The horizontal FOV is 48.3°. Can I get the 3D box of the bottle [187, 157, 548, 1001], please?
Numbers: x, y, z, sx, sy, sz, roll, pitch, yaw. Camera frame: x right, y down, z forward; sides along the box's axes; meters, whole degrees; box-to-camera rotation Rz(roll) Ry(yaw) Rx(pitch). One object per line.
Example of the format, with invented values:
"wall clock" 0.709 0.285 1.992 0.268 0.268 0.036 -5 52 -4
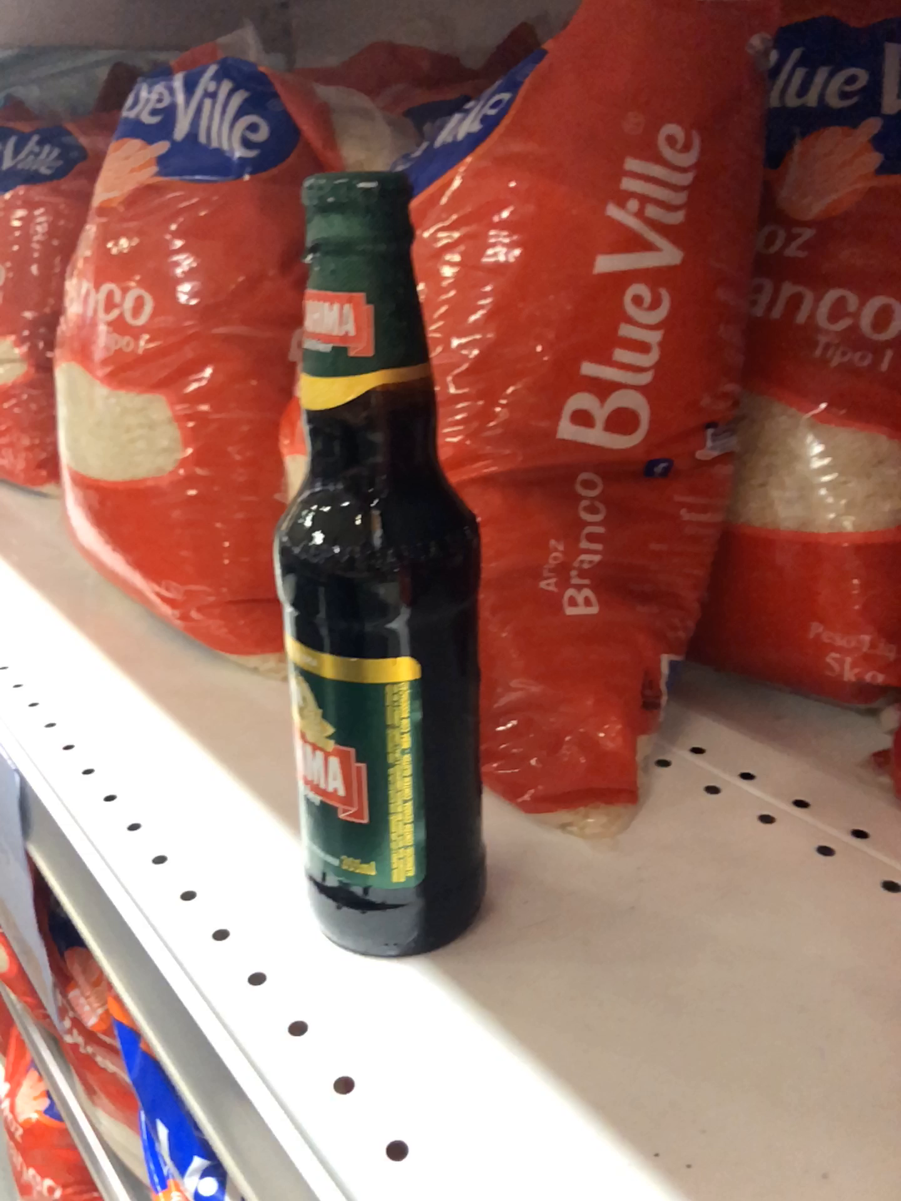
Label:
"bottle" -0.018 -0.004 0.297 0.060 0.228 0.070 -18 27 -30
